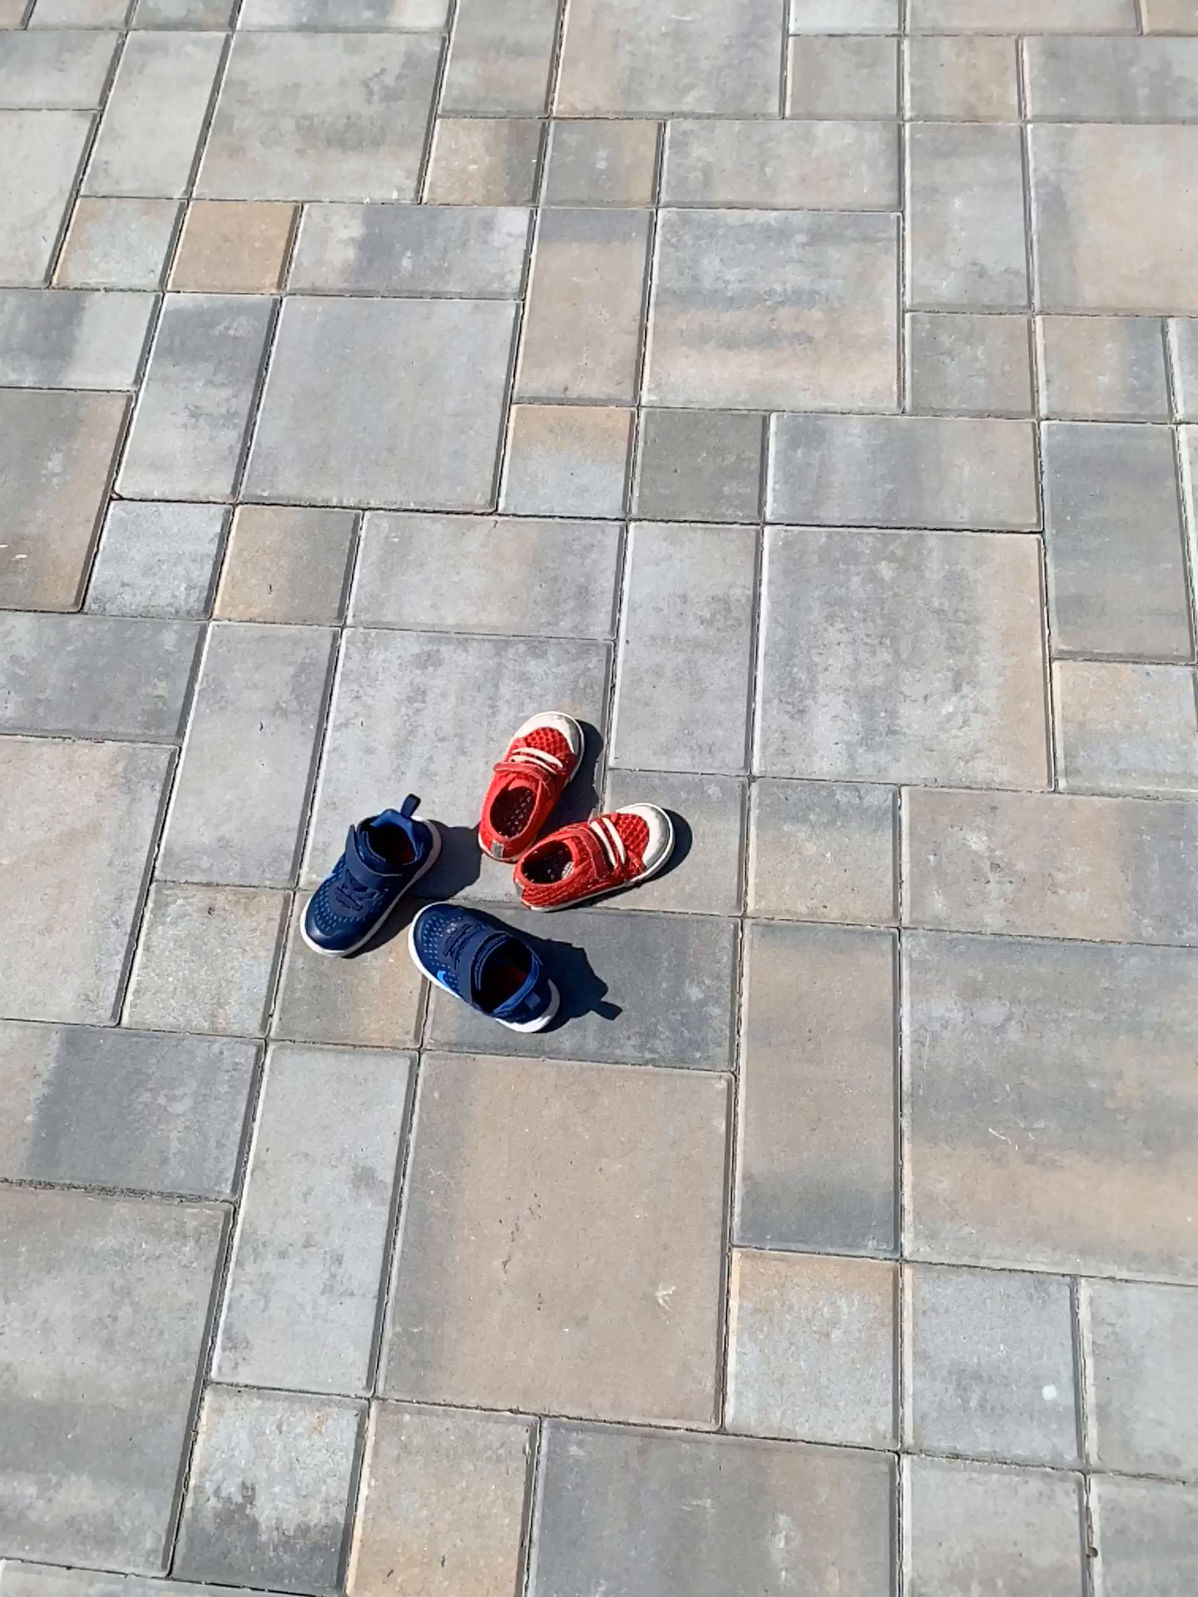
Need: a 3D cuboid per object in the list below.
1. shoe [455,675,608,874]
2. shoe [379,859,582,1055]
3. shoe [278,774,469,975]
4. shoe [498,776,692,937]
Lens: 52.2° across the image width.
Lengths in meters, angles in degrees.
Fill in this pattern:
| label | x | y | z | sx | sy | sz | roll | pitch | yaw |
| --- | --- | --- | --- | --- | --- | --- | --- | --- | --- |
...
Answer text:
| label | x | y | z | sx | sy | sz | roll | pitch | yaw |
| --- | --- | --- | --- | --- | --- | --- | --- | --- | --- |
| shoe | -0.062 | -0.023 | 1.177 | 0.080 | 0.070 | 0.160 | 22 | 72 | 11 |
| shoe | -0.105 | 0.144 | 1.104 | 0.160 | 0.080 | 0.080 | 36 | 75 | 15 |
| shoe | -0.209 | 0.072 | 1.152 | 0.080 | 0.070 | 0.160 | 35 | 75 | 15 |
| shoe | -0.002 | 0.056 | 1.158 | 0.160 | 0.070 | 0.080 | -22 | 69 | -5 |
